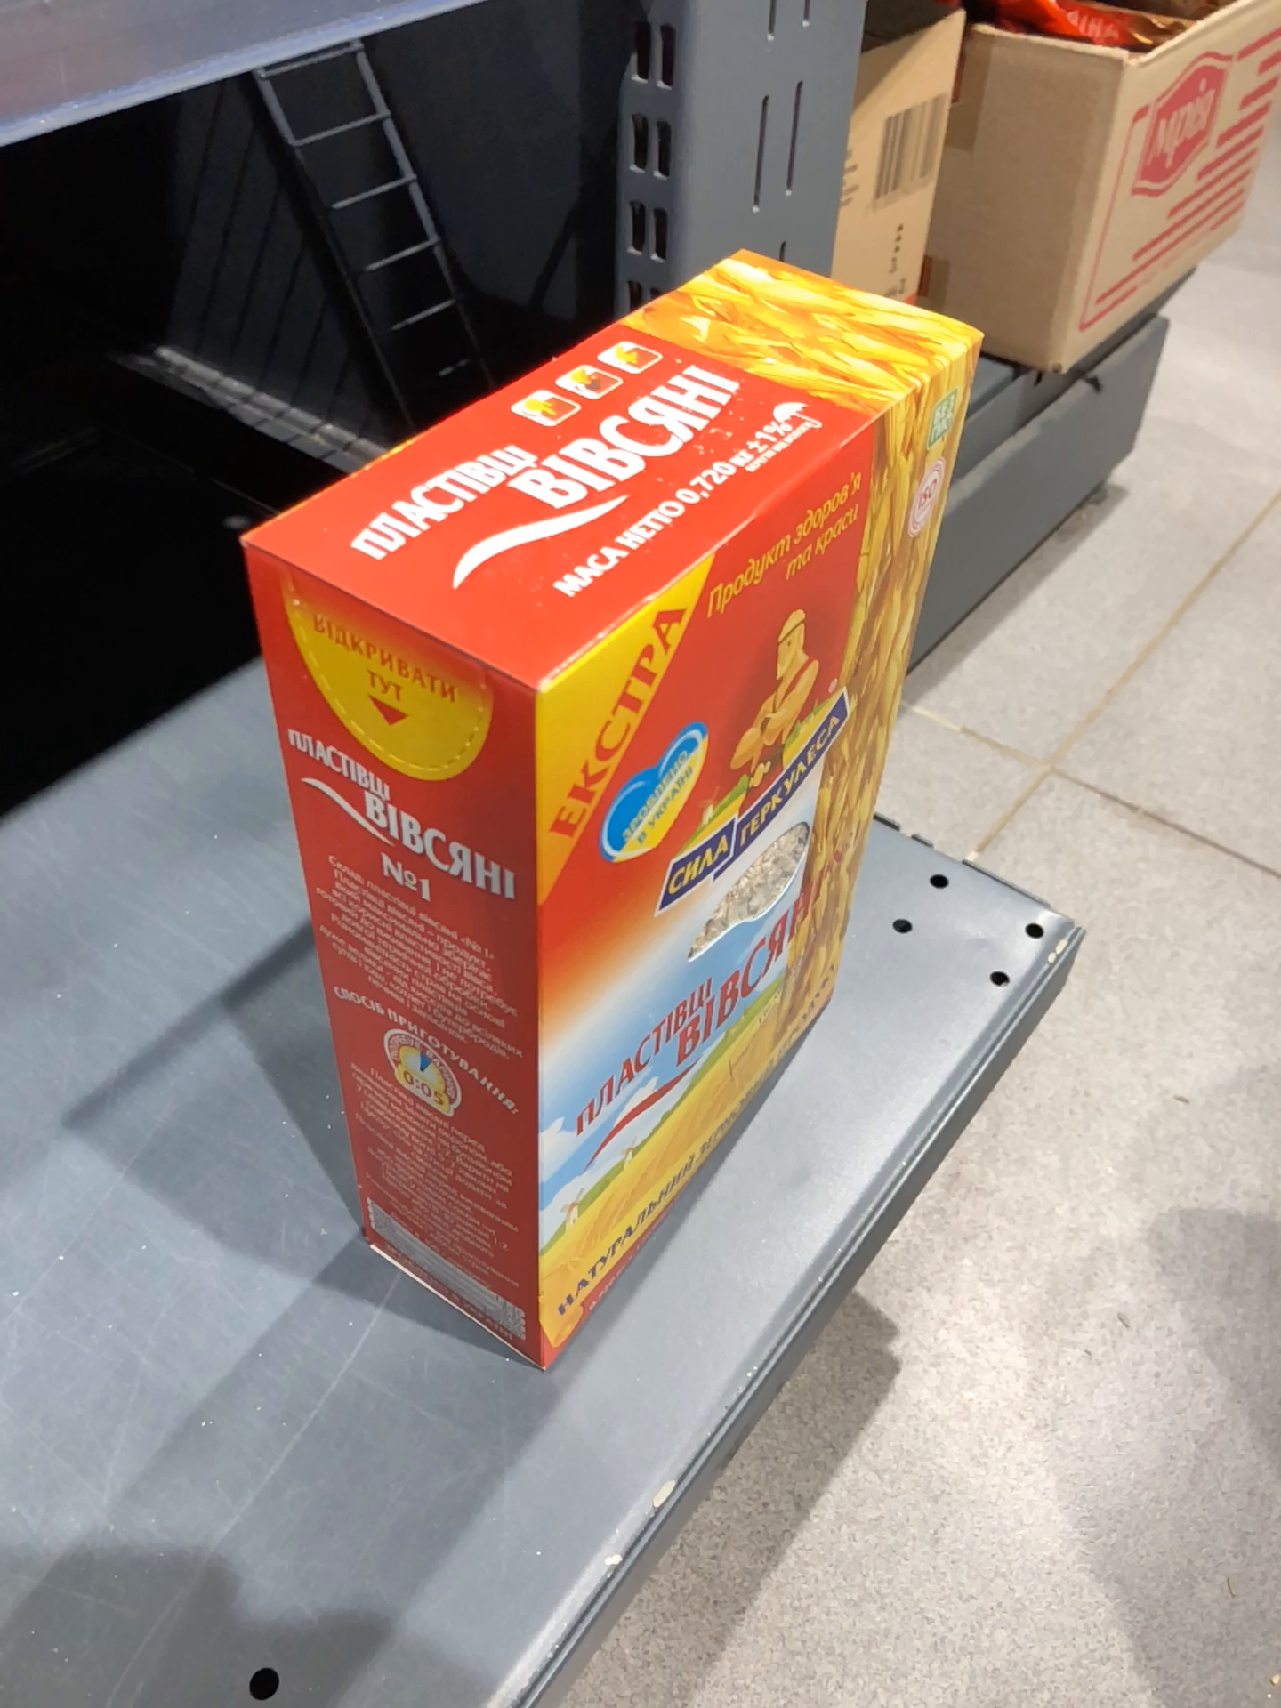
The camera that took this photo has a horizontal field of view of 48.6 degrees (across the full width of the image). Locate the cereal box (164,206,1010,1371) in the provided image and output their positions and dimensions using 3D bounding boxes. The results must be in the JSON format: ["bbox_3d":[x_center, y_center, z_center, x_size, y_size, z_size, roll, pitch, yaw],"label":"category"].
[{"bbox_3d":[-0.003,-0.011,0.328,0.070,0.208,0.161,27,49,23],"label":"cereal box"}]
